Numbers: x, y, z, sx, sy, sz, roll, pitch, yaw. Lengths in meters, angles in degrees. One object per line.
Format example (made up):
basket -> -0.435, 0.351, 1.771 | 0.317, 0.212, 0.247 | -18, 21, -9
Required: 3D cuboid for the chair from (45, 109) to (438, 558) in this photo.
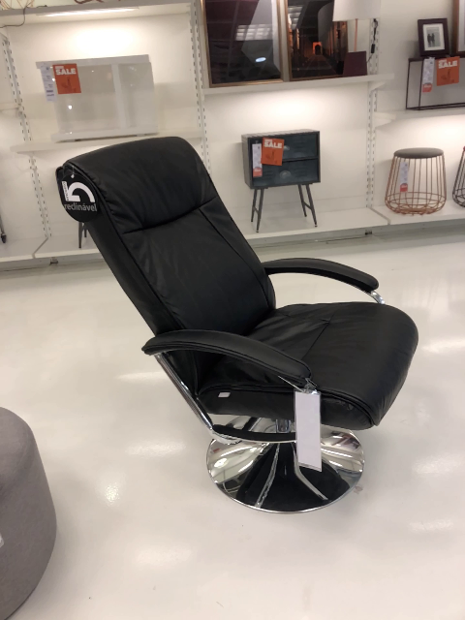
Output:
chair -> 0.096, -0.036, 1.563 | 0.801, 0.993, 0.734 | 9, 27, 29
